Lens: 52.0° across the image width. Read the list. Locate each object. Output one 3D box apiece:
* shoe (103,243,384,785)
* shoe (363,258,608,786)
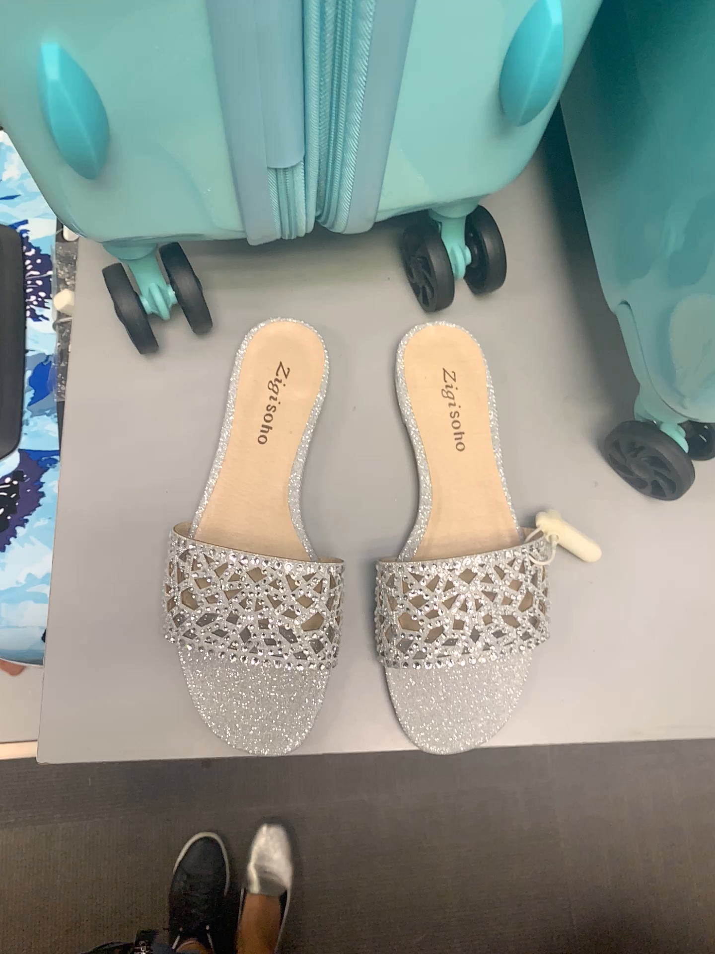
[{"bbox_3d":[-0.046,0.013,0.360,0.100,0.061,0.243,5,74,-2],"label":"shoe"},{"bbox_3d":[0.057,0.018,0.364,0.098,0.061,0.242,2,75,-2],"label":"shoe"}]
